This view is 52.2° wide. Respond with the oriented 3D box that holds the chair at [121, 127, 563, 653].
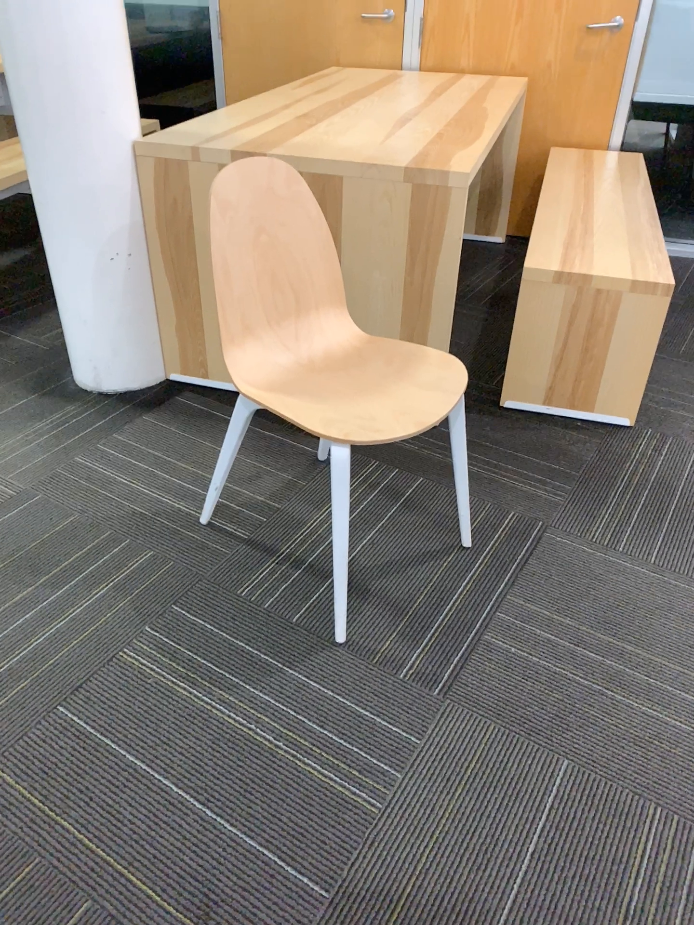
[{"bbox_3d":[-0.016,-0.185,1.488,0.562,0.815,0.551,30,44,34],"label":"chair"}]
